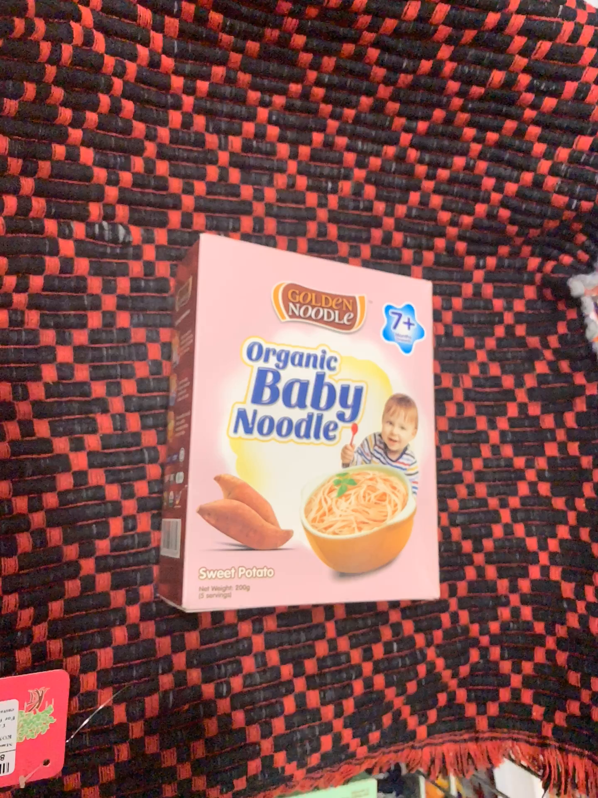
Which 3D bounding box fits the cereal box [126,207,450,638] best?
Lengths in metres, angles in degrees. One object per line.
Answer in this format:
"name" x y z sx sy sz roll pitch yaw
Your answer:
"cereal box" -0.001 0.014 0.280 0.130 0.050 0.160 6 80 -25
